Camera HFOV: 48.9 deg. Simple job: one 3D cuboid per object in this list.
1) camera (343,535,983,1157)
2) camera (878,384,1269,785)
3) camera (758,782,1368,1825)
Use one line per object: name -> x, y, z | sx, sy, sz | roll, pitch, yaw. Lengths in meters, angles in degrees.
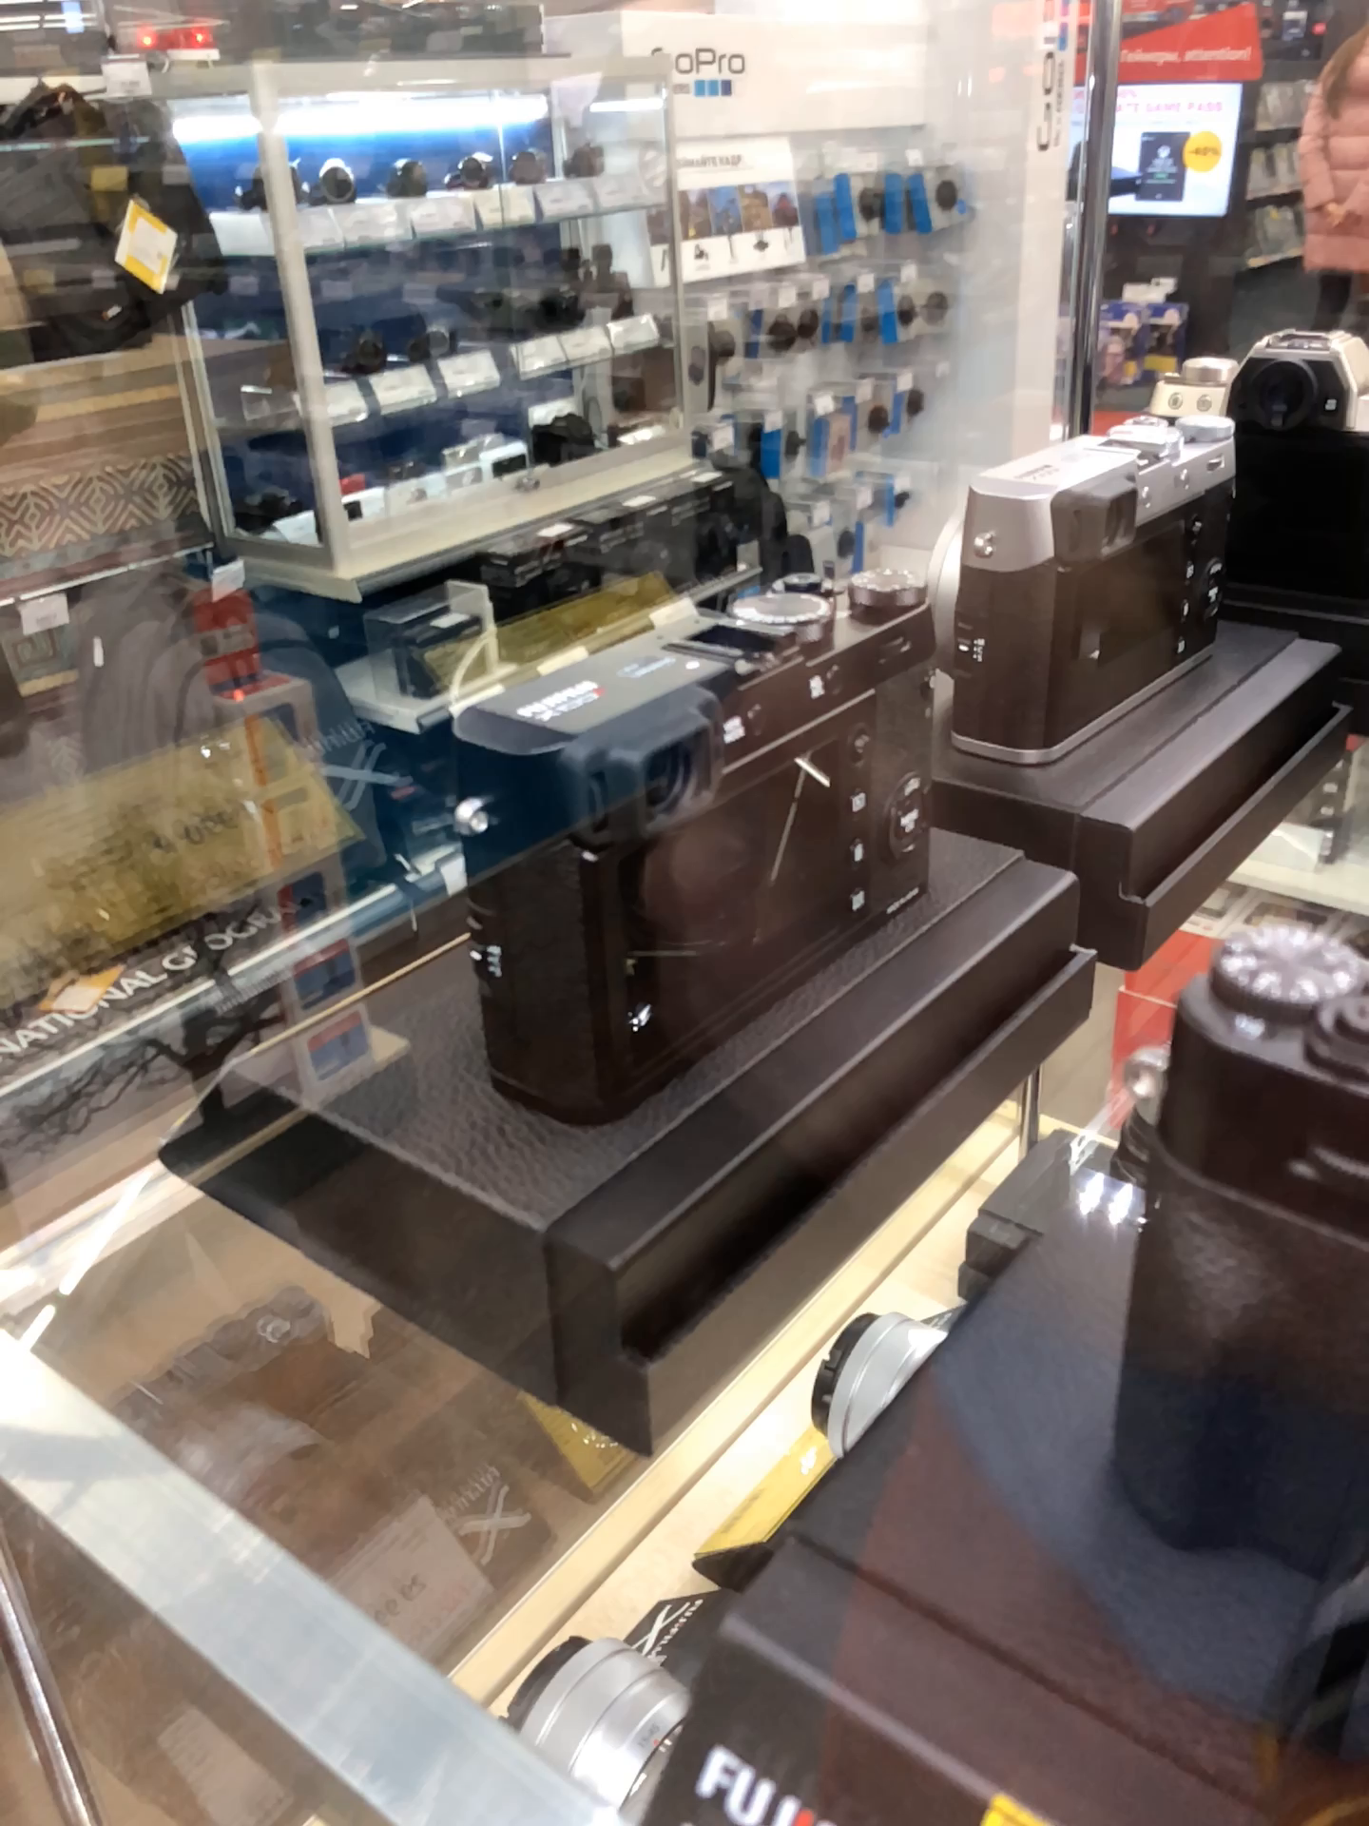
camera -> 0.003, -0.023, 0.309 | 0.054, 0.075, 0.131 | 18, 34, 34
camera -> 0.115, -0.102, 0.441 | 0.054, 0.081, 0.131 | 18, 34, 34
camera -> 0.091, 0.056, 0.138 | 0.131, 0.081, 0.104 | 18, 34, 34
